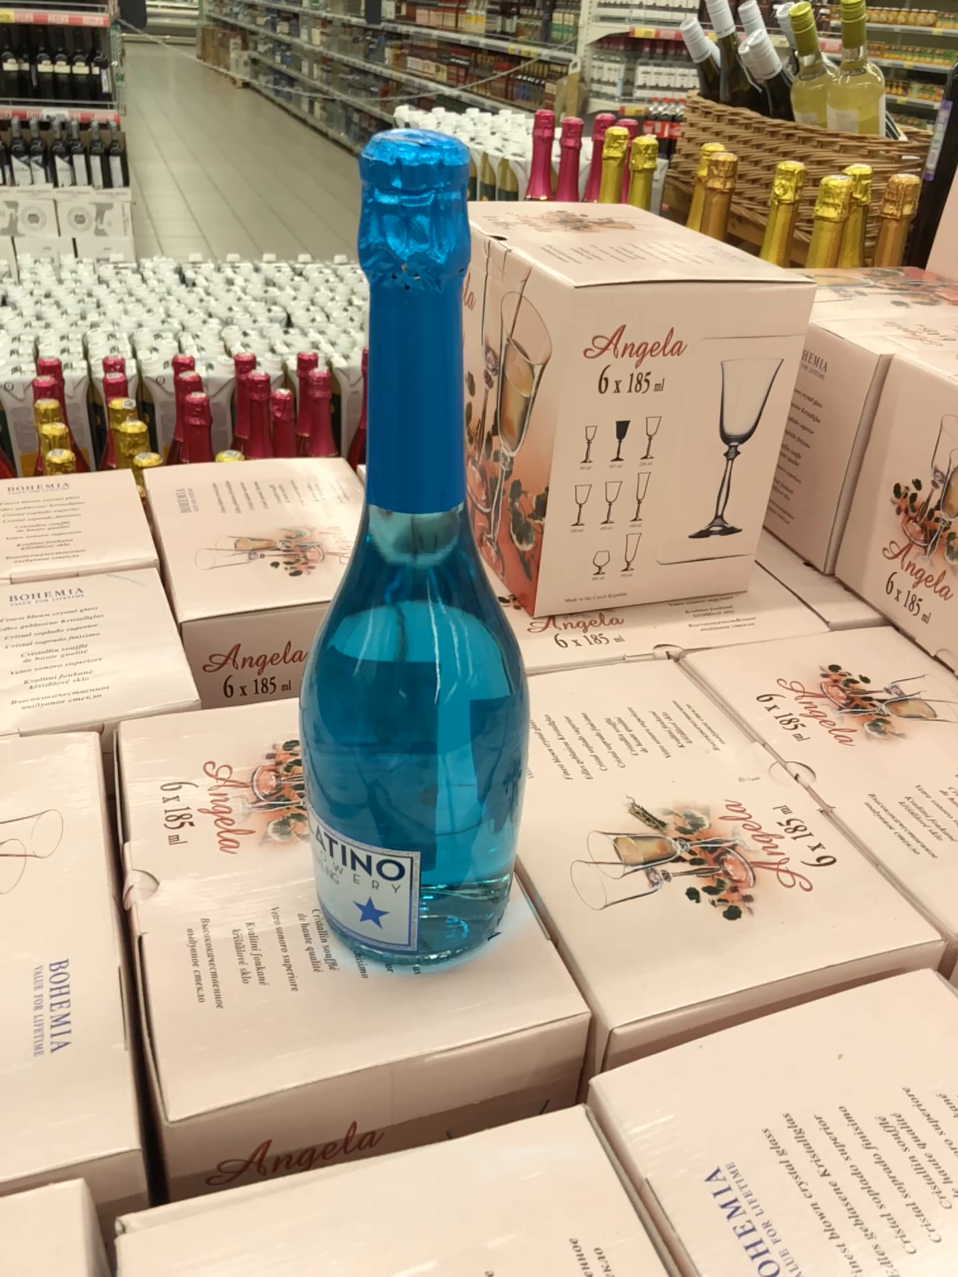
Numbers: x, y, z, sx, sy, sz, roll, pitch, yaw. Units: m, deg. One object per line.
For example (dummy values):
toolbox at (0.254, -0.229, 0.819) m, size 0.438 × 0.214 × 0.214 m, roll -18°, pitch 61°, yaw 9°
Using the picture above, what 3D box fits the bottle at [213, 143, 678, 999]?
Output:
bottle at (-0.021, -0.020, 0.383) m, size 0.100 × 0.278 × 0.100 m, roll 3°, pitch 30°, yaw -2°

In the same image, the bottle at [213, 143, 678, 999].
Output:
bottle at (-0.021, -0.020, 0.383) m, size 0.100 × 0.278 × 0.100 m, roll 3°, pitch 30°, yaw -2°
